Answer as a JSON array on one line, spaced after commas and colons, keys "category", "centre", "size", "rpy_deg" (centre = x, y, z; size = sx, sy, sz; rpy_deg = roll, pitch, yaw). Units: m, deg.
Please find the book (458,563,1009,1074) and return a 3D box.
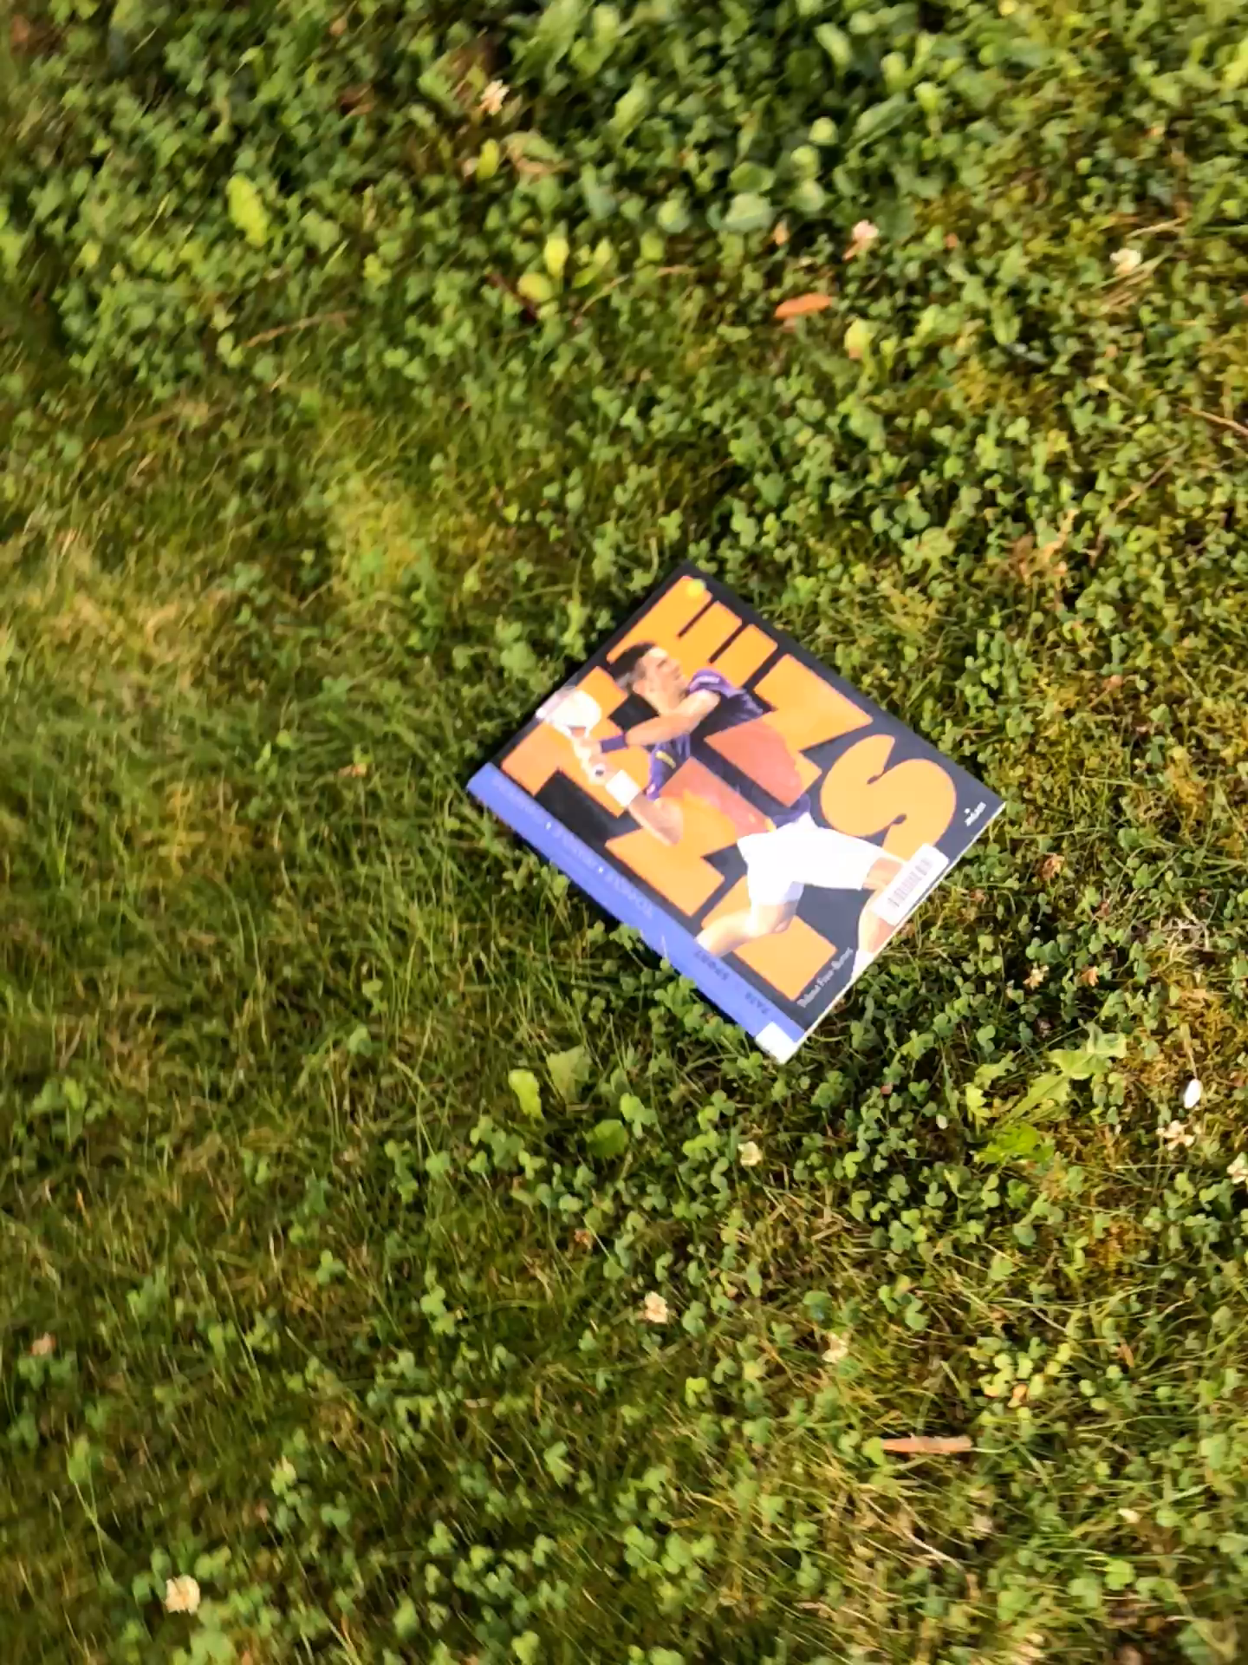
[{"category": "book", "centre": [0.061, -0.017, 0.785], "size": [0.240, 0.016, 0.198], "rpy_deg": [39, 74, 15]}]
